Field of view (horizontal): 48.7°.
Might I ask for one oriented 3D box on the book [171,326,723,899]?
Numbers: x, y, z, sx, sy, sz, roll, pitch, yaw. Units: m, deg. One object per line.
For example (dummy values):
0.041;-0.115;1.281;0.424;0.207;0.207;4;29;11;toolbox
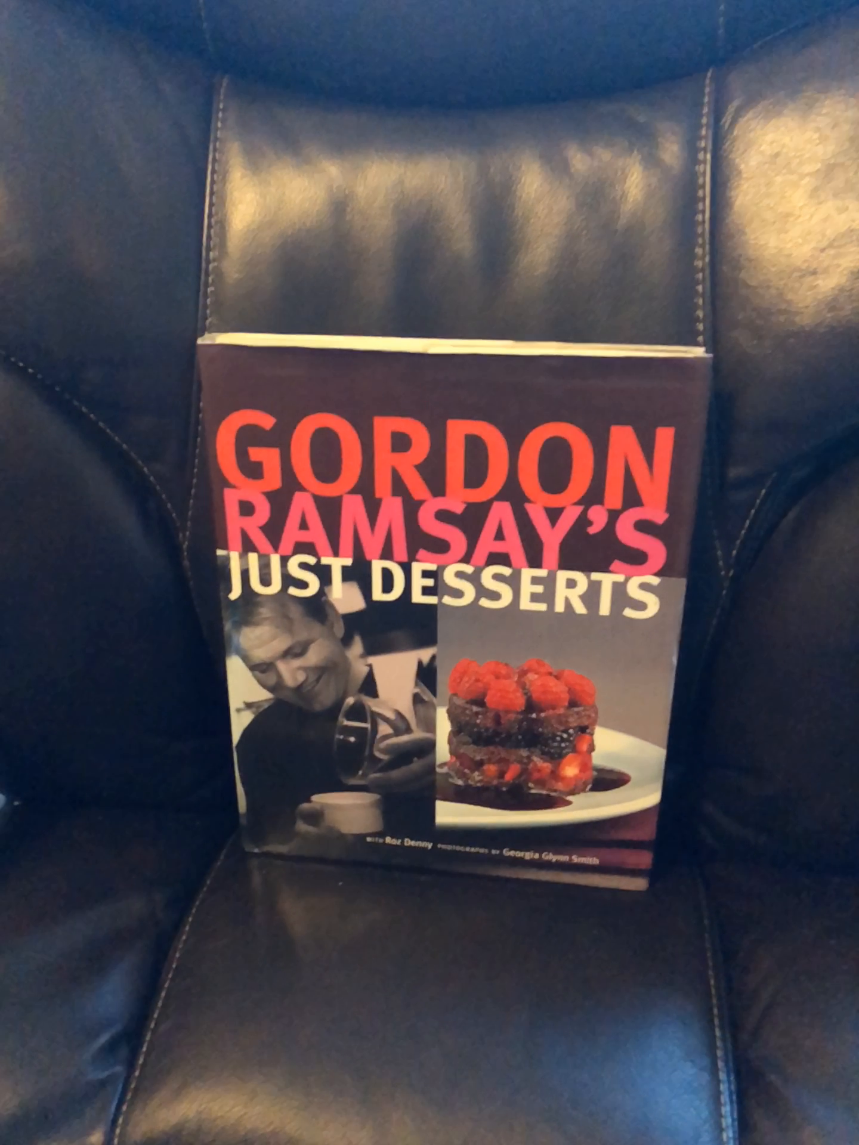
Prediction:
0.007;0.031;0.471;0.230;0.293;0.030;3;27;8;book
